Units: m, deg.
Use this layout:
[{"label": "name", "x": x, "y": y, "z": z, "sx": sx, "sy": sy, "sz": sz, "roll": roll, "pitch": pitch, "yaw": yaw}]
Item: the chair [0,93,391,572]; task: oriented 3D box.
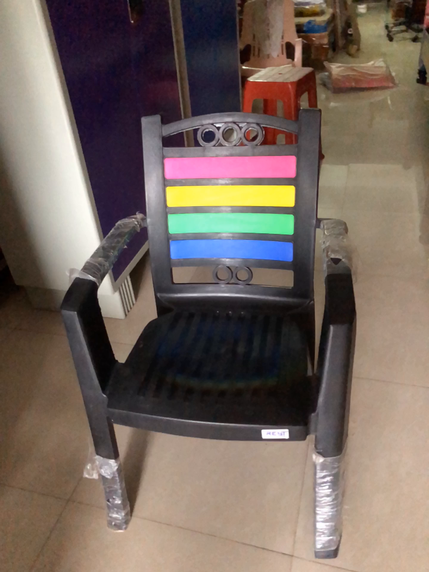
[{"label": "chair", "x": 0.013, "y": 0.116, "z": 1.181, "sx": 0.640, "sy": 0.975, "sz": 0.613, "roll": 3, "pitch": 36, "yaw": 12}]
